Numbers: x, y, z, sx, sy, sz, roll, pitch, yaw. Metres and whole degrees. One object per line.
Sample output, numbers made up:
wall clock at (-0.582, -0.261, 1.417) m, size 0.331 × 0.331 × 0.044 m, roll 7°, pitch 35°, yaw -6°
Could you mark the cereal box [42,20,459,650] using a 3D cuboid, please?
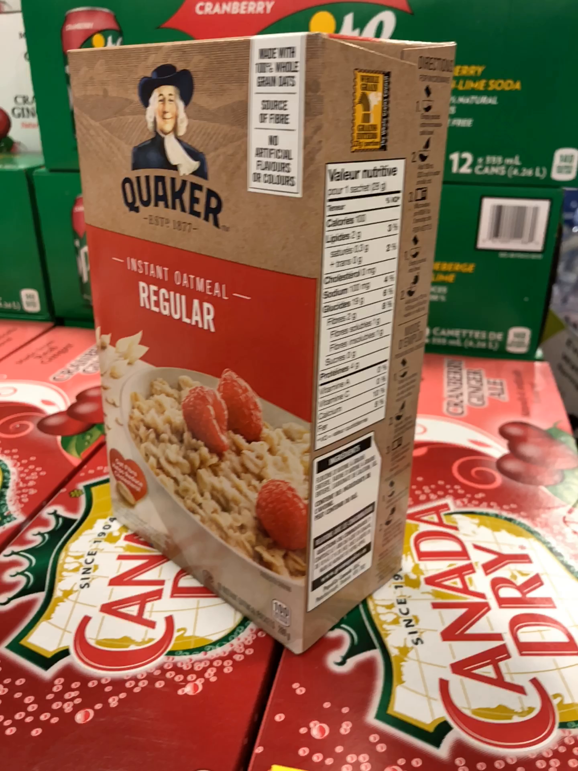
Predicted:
cereal box at (-0.021, -0.025, 0.259) m, size 0.130 × 0.199 × 0.070 m, roll 21°, pitch 29°, yaw 37°
